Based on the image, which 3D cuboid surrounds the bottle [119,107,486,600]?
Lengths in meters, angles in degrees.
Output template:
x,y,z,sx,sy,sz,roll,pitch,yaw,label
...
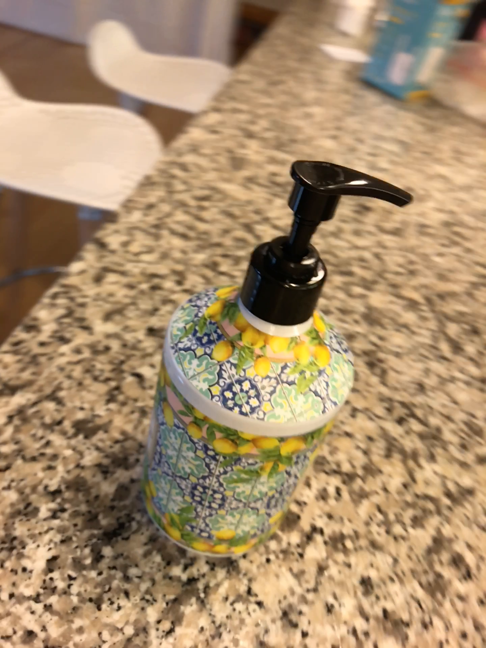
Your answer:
x,y,z,sx,sy,sz,roll,pitch,yaw,label
0.014,0.026,0.239,0.100,0.189,0.091,16,41,0,bottle
